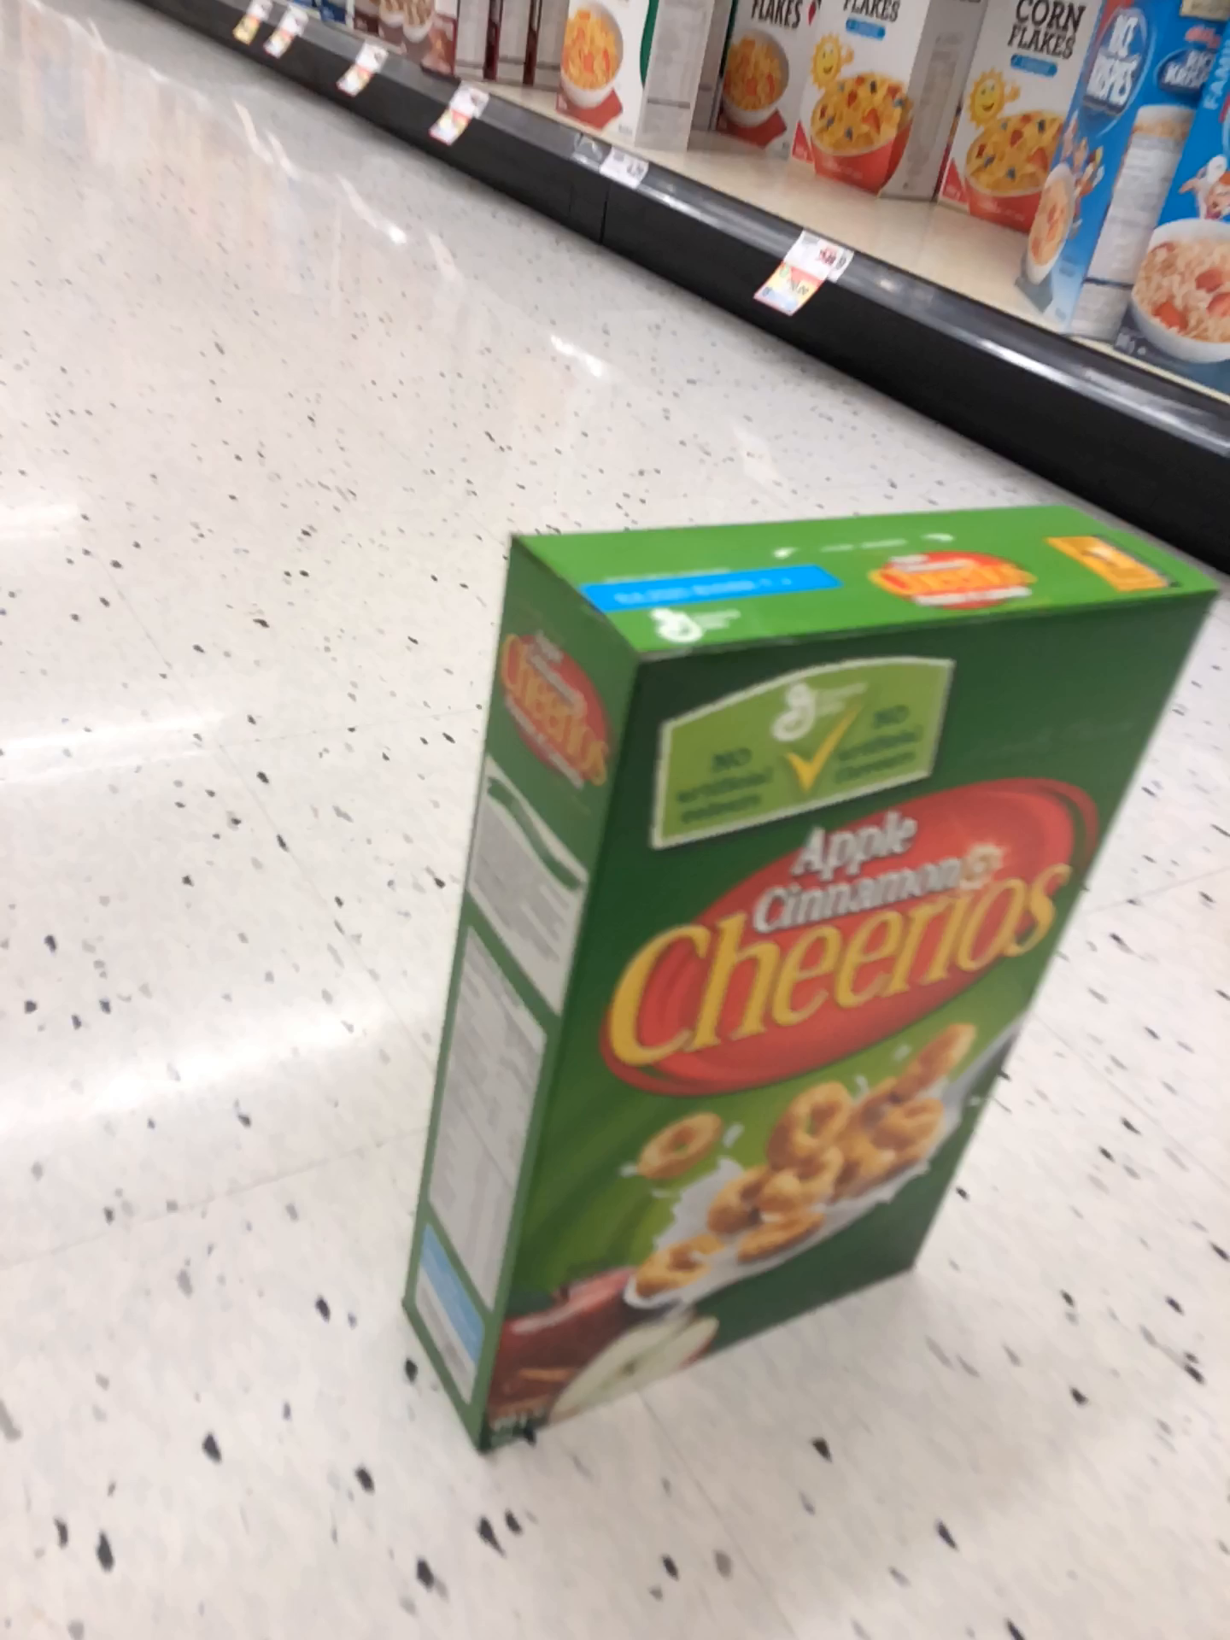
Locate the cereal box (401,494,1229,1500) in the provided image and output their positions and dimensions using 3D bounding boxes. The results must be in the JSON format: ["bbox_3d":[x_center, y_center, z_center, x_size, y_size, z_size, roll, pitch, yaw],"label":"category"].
[{"bbox_3d":[0.051,0.053,0.391,0.190,0.278,0.060,-11,39,-31],"label":"cereal box"}]
